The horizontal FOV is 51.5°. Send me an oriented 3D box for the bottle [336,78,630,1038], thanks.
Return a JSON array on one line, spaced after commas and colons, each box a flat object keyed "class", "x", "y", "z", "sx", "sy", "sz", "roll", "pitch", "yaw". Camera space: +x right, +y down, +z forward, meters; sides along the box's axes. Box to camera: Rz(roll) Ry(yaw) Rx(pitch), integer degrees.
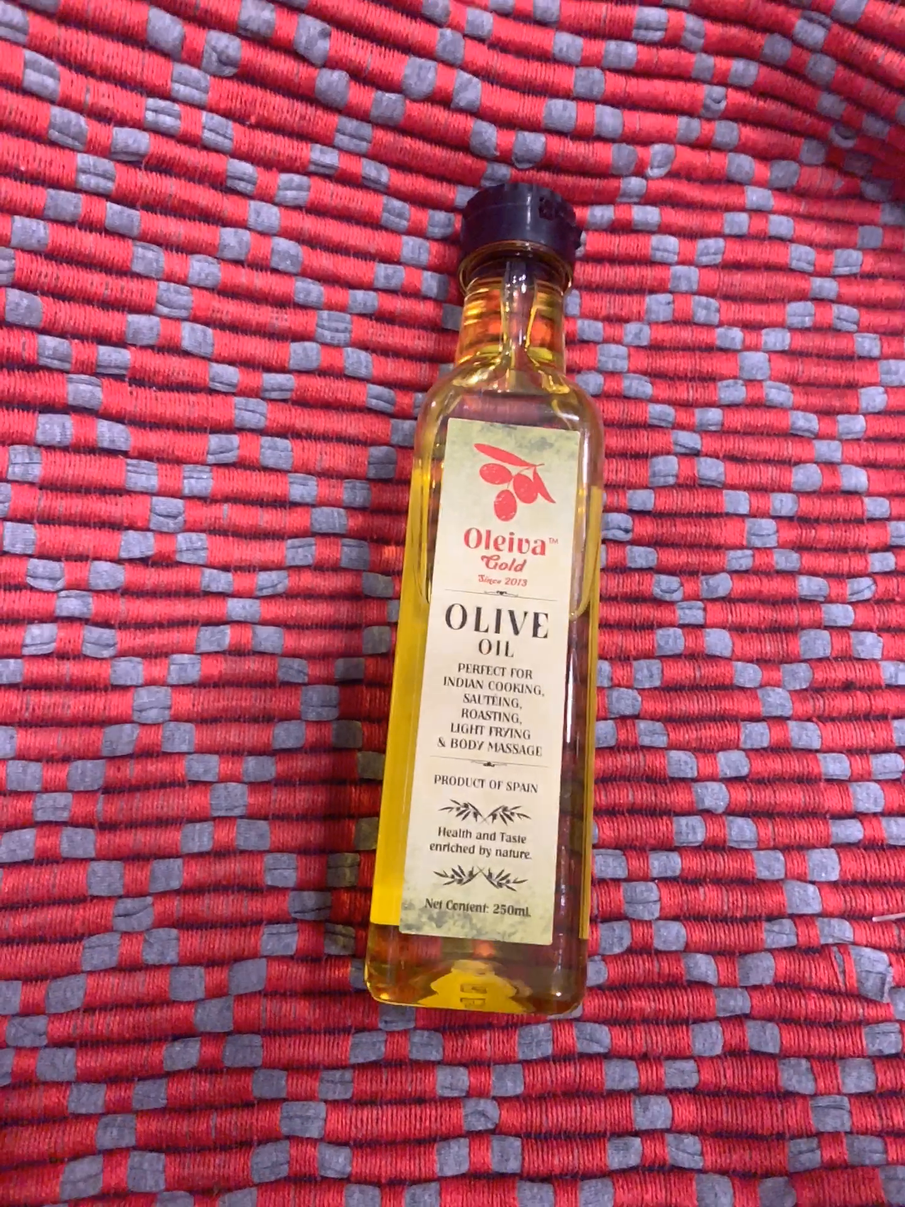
[{"class": "bottle", "x": 0.010, "y": -0.017, "z": 0.222, "sx": 0.050, "sy": 0.050, "sz": 0.210, "roll": 5, "pitch": 74, "yaw": -2}]
